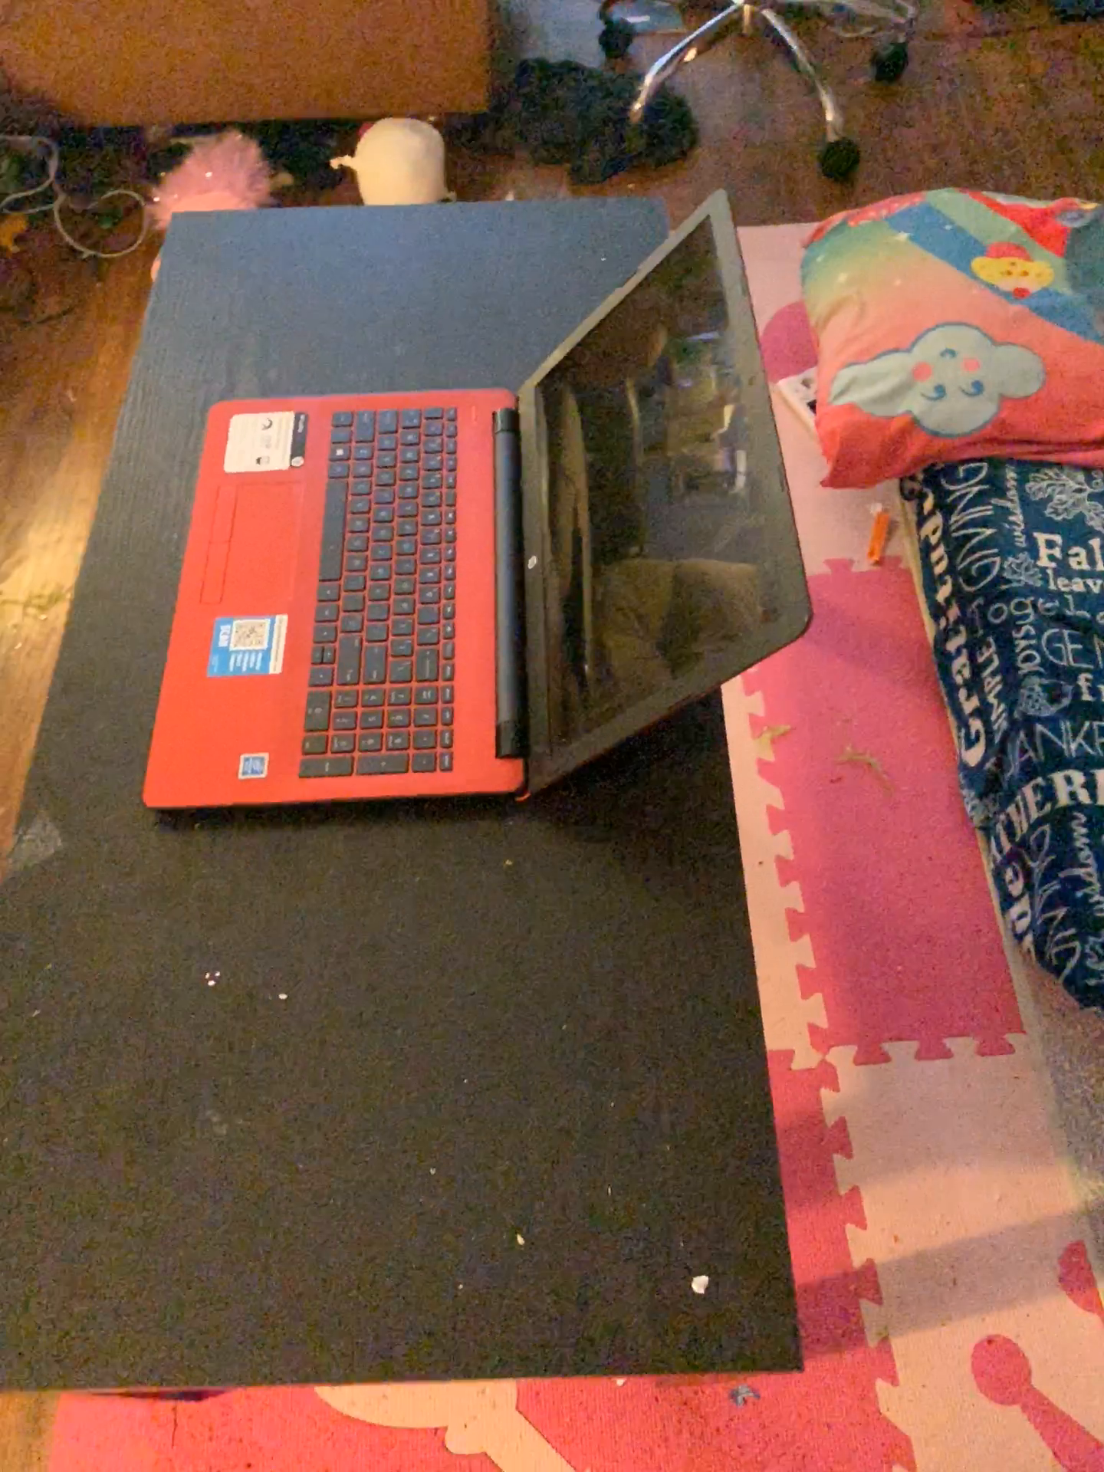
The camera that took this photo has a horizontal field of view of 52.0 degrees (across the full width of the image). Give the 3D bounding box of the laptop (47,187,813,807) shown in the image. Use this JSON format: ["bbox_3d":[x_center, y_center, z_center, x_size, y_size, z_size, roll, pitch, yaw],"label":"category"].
[{"bbox_3d":[-0.074,-0.169,0.772,0.409,0.170,0.377,-3,59,1],"label":"laptop"}]
